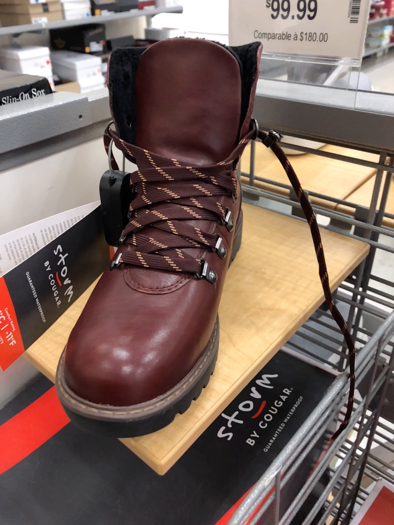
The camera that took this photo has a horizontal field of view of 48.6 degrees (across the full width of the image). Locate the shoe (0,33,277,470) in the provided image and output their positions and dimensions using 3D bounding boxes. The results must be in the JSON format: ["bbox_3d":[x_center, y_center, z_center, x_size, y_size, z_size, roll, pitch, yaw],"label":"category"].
[{"bbox_3d":[-0.022,-0.036,0.278,0.107,0.169,0.232,7,35,14],"label":"shoe"}]
